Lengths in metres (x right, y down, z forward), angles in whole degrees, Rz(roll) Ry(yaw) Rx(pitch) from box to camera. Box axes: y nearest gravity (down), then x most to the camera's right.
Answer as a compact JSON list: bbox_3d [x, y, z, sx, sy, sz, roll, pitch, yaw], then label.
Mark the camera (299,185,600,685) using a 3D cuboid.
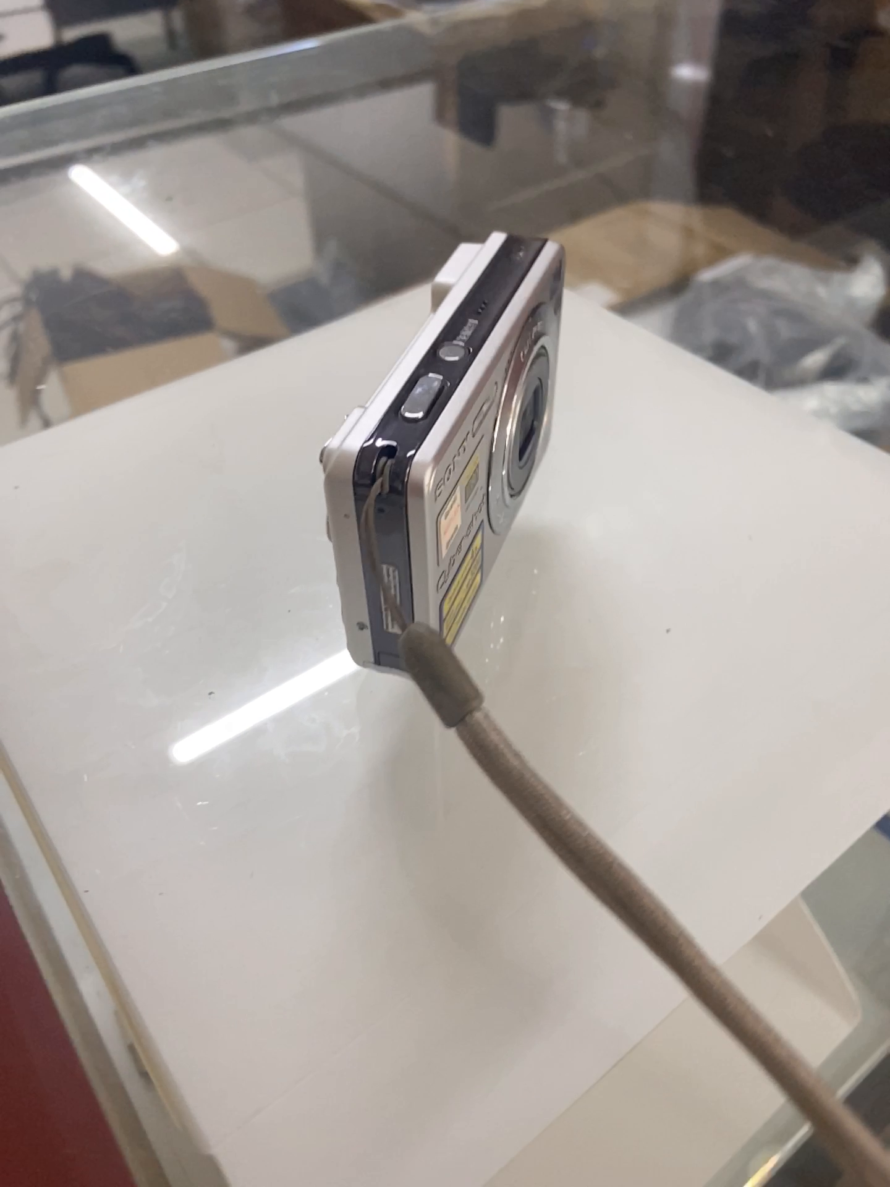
[{"bbox_3d":[0.006,-0.037,0.197,0.030,0.060,0.091,13,47,14],"label":"camera"}]
